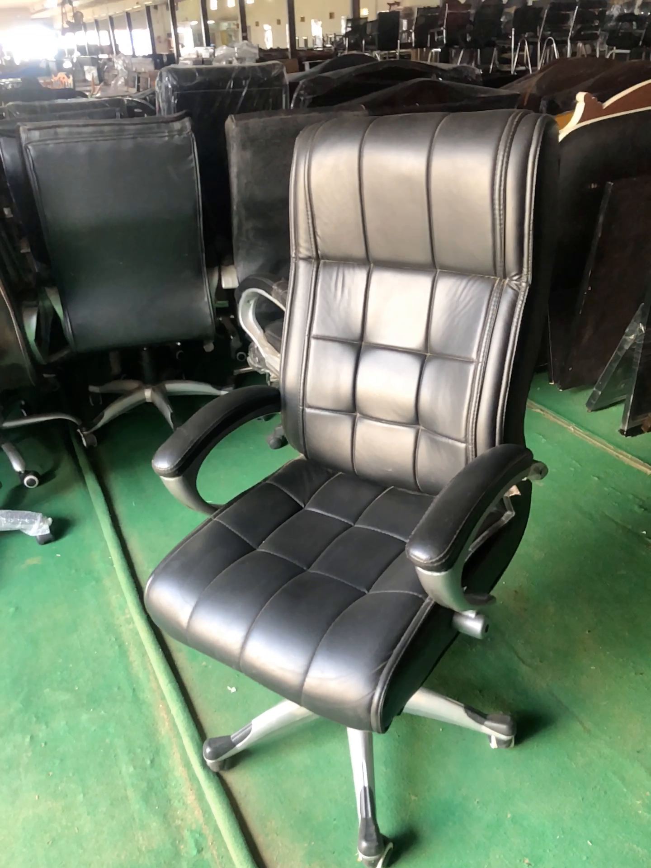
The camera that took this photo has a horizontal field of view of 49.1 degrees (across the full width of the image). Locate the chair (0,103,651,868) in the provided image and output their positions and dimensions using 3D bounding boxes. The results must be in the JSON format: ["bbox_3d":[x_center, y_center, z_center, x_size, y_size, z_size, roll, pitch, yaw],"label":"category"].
[{"bbox_3d":[0.092,0.055,1.404,0.810,1.224,0.835,15,33,29],"label":"chair"}]
